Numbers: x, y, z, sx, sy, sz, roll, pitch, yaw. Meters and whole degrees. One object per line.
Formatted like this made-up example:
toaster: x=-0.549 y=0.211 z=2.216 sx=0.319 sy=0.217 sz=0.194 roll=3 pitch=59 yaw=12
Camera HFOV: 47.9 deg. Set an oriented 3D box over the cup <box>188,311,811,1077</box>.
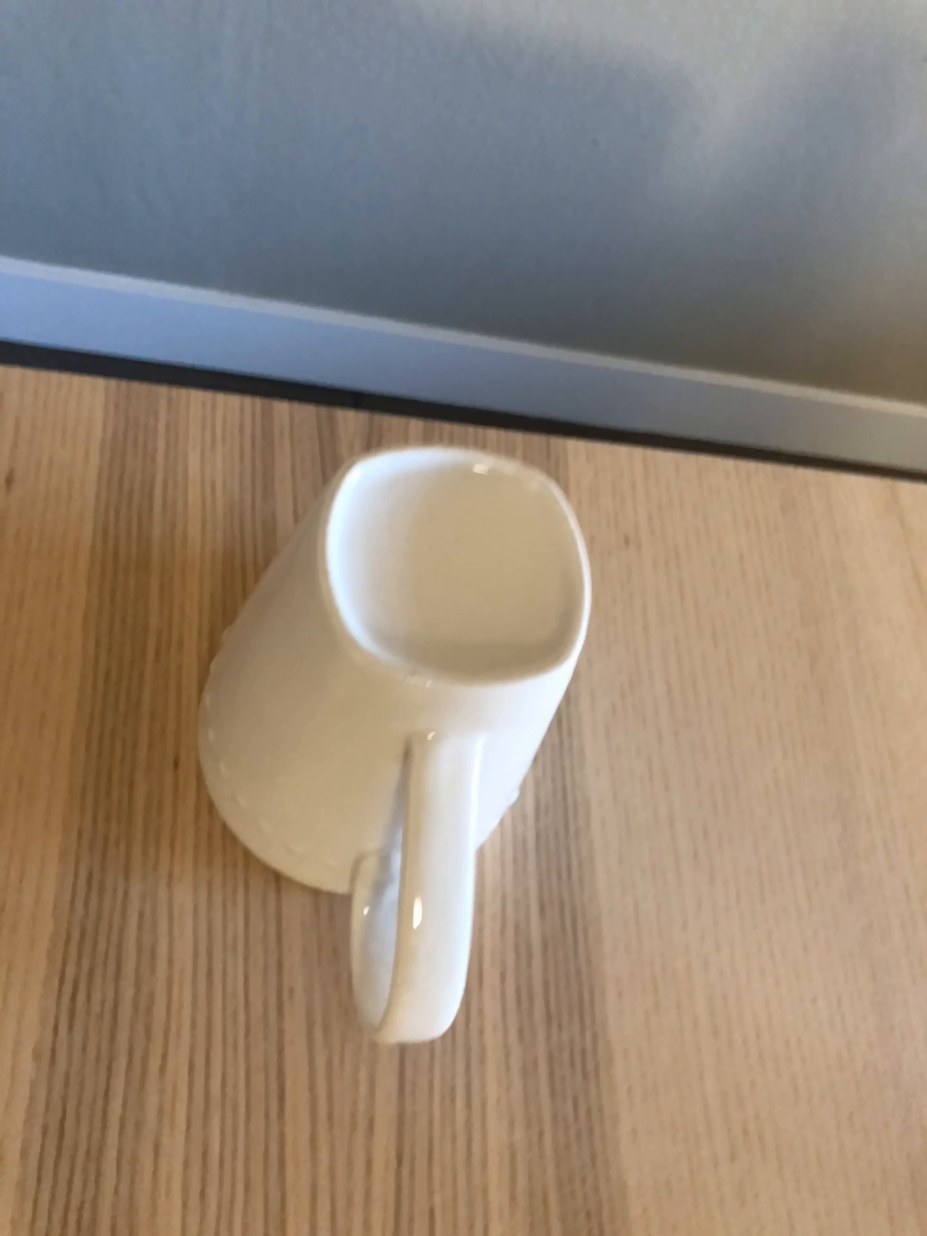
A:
cup: x=-0.010 y=0.026 z=0.252 sx=0.100 sy=0.120 sz=0.140 roll=0 pitch=65 yaw=-18
